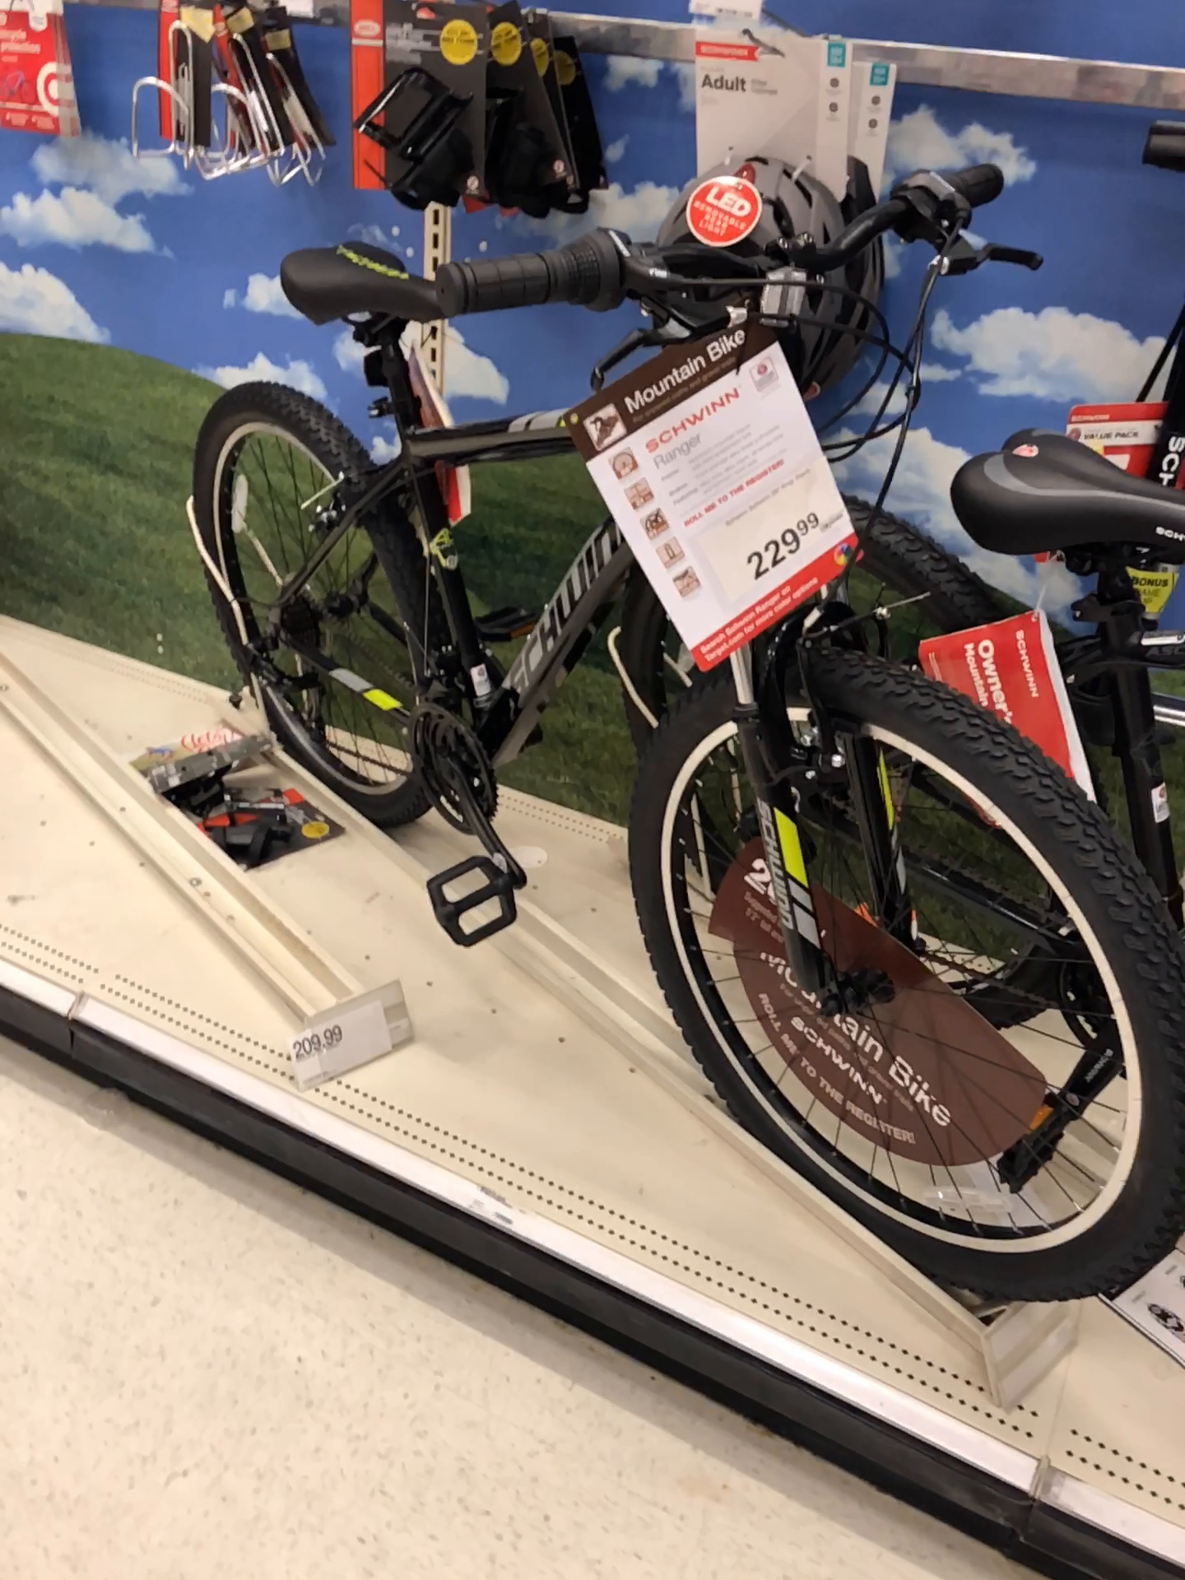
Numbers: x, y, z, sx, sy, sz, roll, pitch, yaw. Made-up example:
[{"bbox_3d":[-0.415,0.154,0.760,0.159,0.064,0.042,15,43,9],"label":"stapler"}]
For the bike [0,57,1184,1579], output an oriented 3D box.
[{"bbox_3d":[-0.150,-0.107,1.407,0.600,1.002,1.657,-18,39,-36],"label":"bike"}]
